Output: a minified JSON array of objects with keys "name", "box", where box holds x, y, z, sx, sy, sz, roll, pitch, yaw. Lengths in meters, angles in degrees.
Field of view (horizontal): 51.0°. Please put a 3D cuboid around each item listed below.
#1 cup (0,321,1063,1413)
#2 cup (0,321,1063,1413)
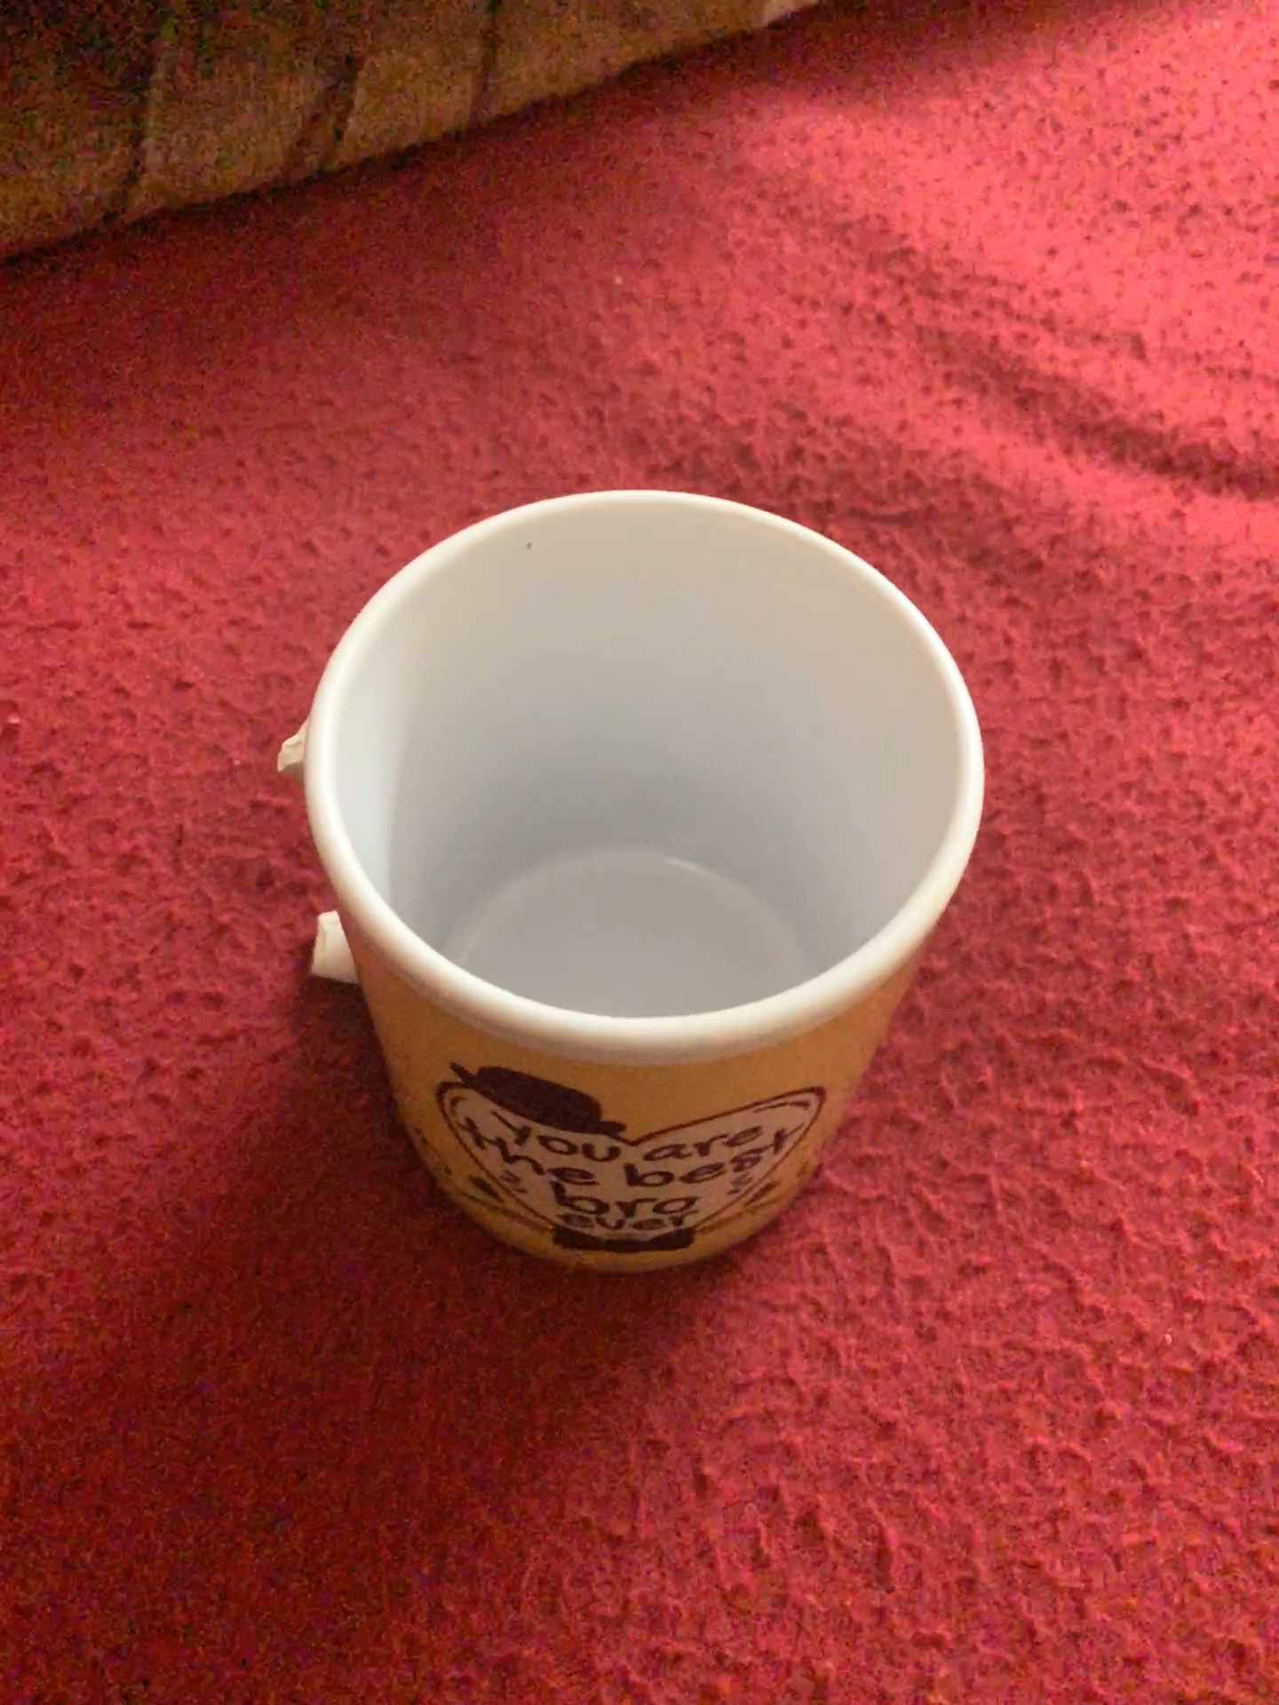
[{"name":"cup","box":[-0.021,0.011,0.194,0.110,0.110,0.080,24,64,10]},{"name":"cup","box":[-0.021,0.011,0.194,0.110,0.110,0.080,24,64,10]}]
